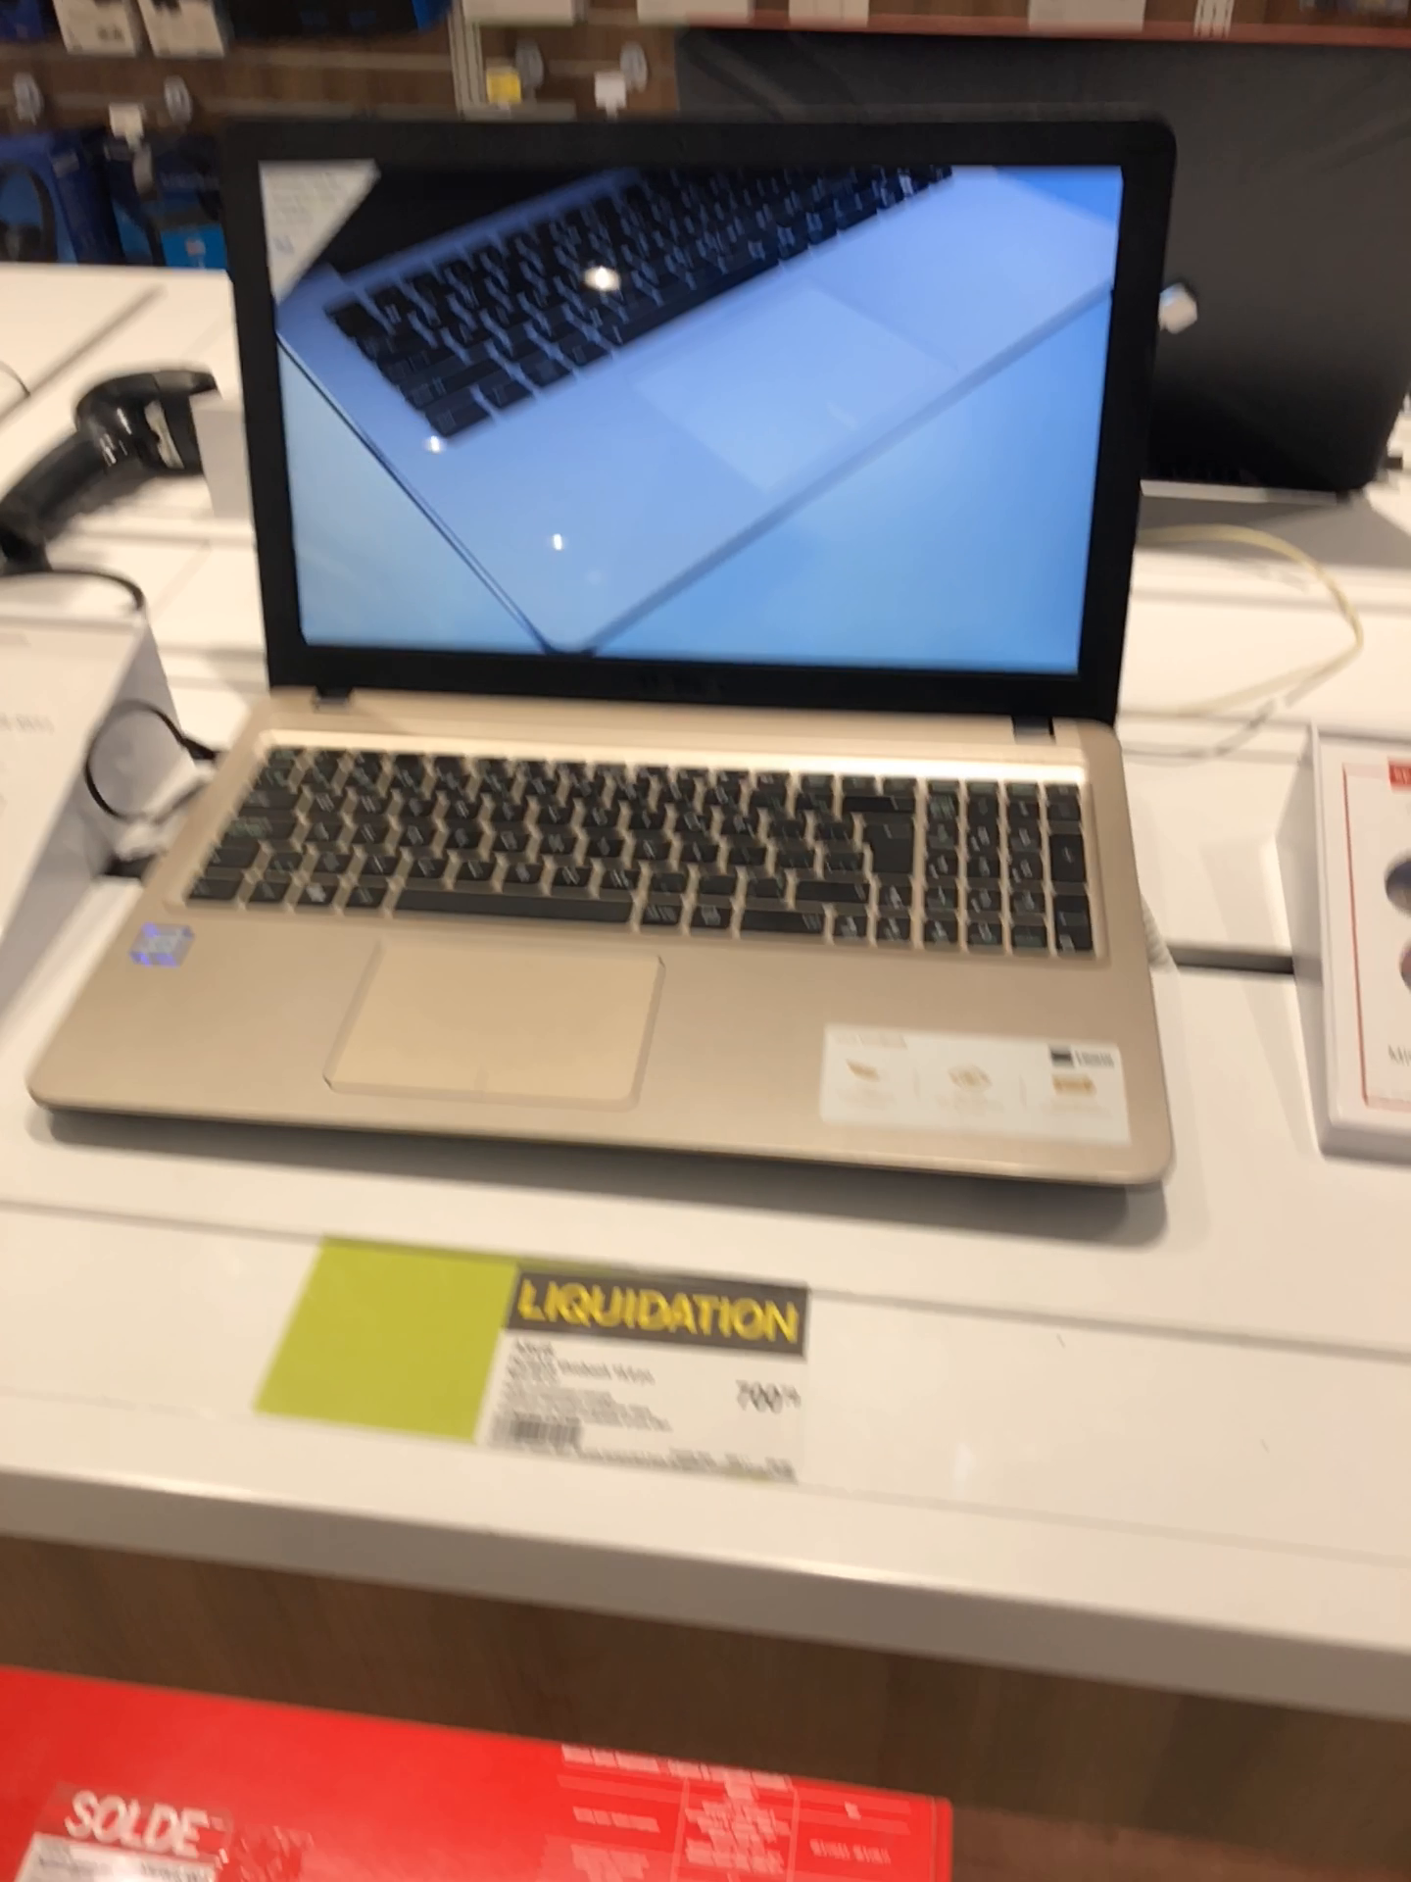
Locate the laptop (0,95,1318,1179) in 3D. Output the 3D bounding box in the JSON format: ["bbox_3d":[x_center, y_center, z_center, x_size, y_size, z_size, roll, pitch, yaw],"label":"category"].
[{"bbox_3d":[-0.023,-0.136,0.565,0.370,0.204,0.339,4,44,6],"label":"laptop"}]
